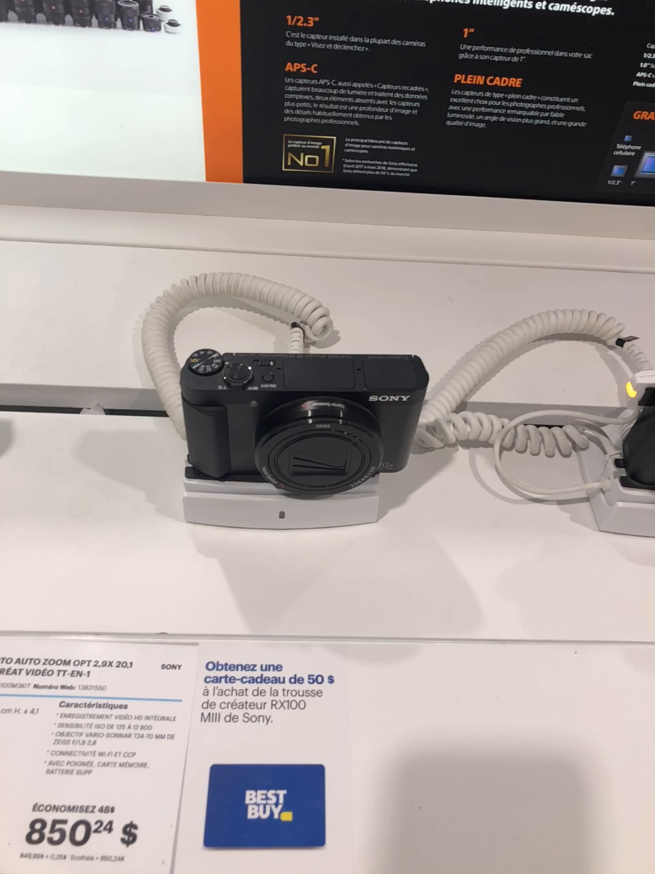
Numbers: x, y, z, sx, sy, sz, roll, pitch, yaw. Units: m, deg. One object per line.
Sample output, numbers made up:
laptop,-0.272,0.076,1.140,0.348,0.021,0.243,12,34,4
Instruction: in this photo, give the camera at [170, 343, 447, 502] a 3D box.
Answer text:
camera,-0.010,-0.005,0.323,0.110,0.069,0.030,0,48,-5
